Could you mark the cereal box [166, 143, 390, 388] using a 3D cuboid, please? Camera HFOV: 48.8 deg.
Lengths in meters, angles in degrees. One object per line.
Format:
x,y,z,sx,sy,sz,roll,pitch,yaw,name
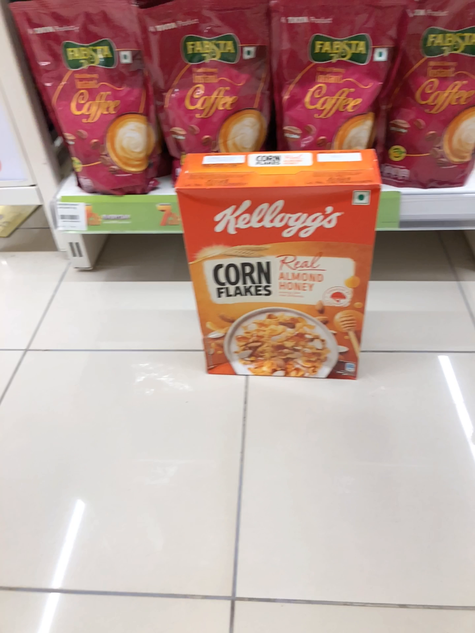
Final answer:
0.048,-0.044,0.583,0.200,0.268,0.081,2,41,8,cereal box
